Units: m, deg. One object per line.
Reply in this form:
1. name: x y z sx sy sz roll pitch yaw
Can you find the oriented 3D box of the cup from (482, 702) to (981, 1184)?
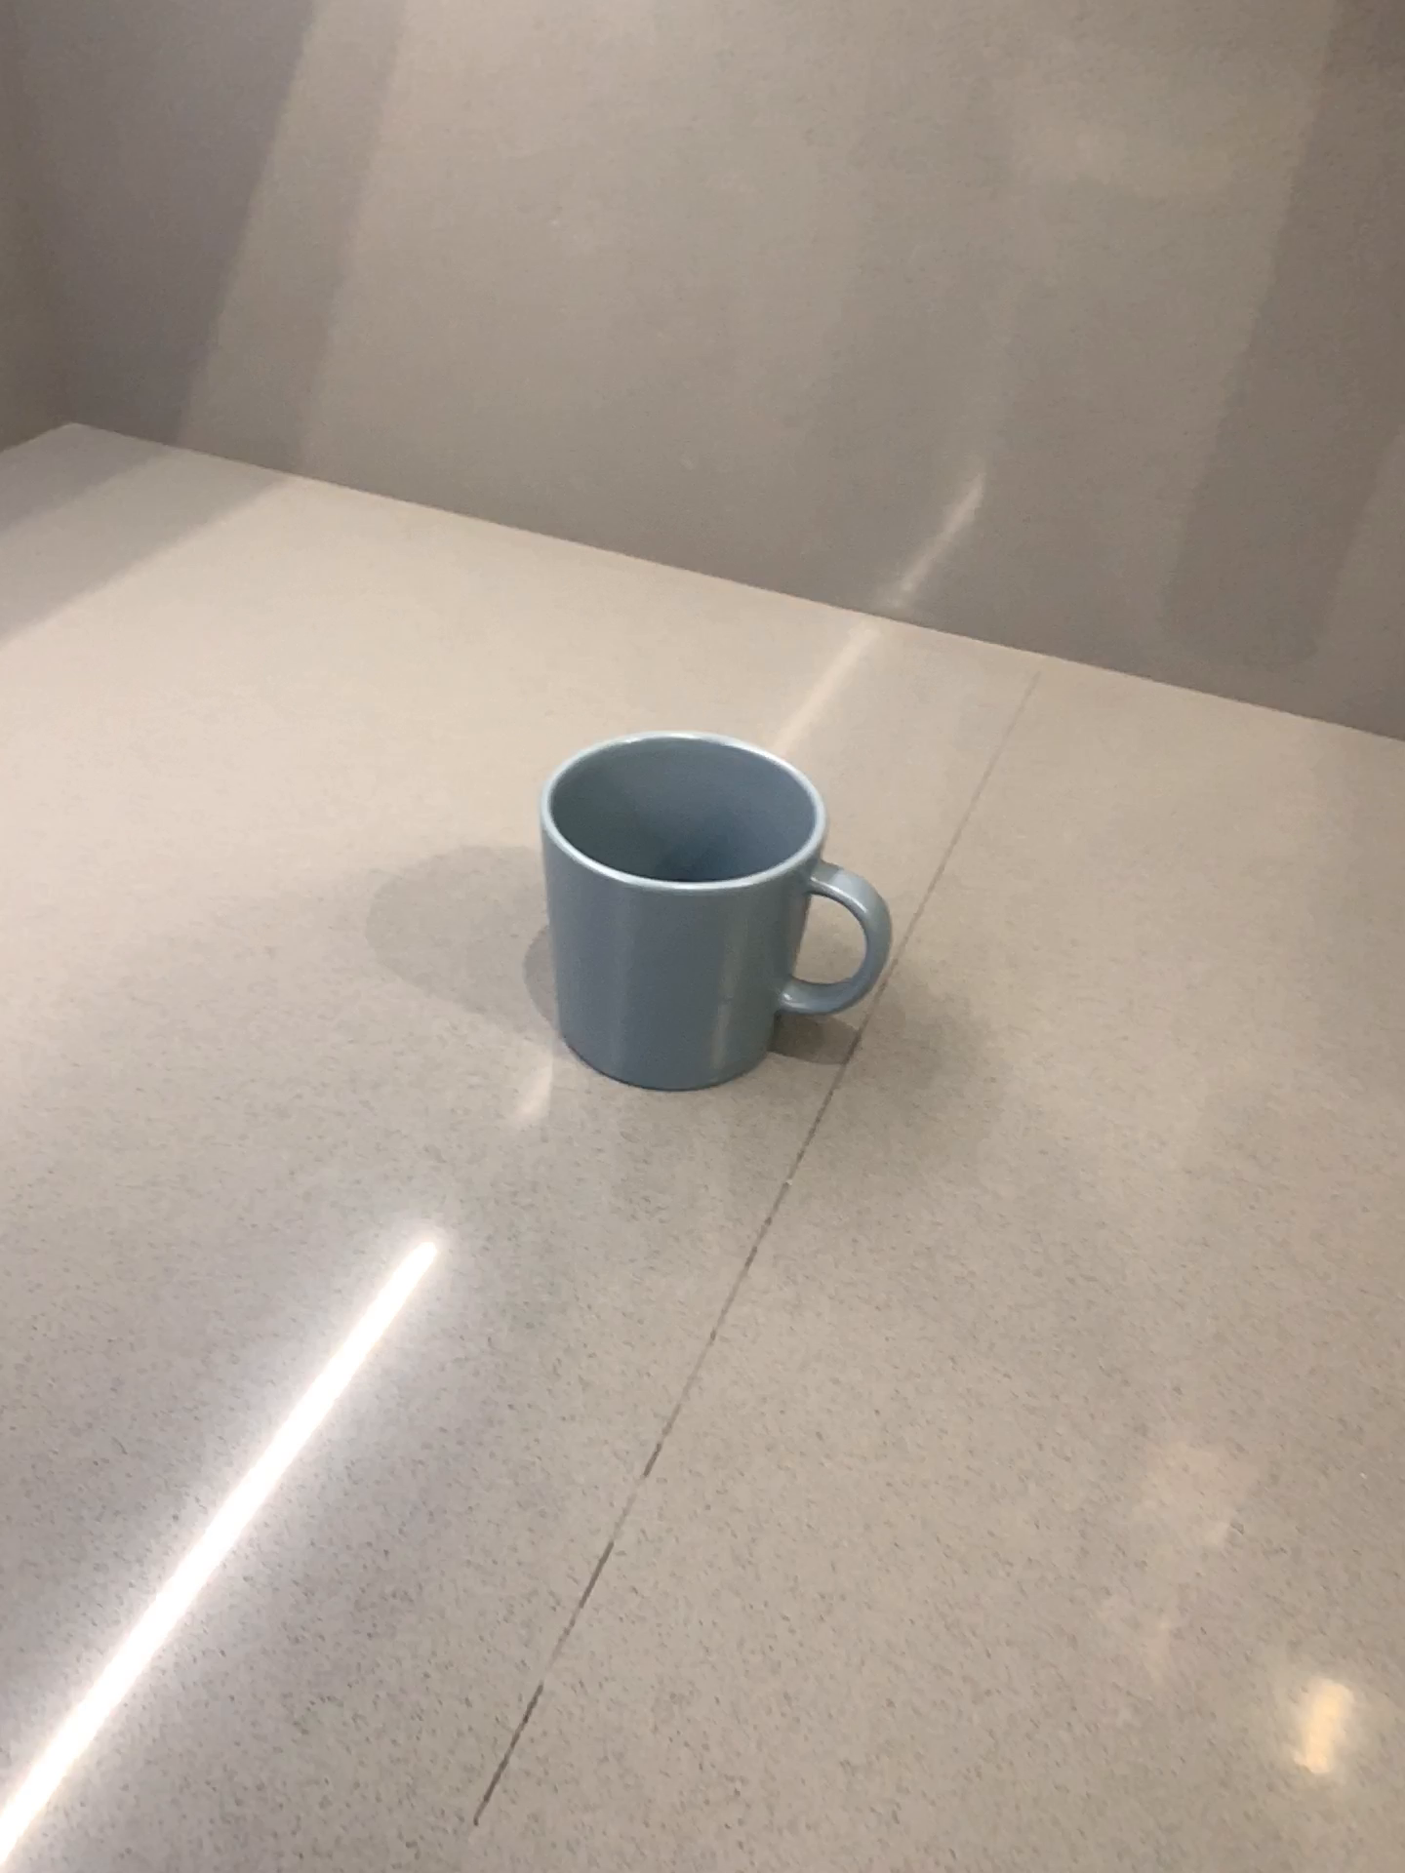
1. cup: 0.009 -0.002 0.472 0.130 0.090 0.090 17 40 15
